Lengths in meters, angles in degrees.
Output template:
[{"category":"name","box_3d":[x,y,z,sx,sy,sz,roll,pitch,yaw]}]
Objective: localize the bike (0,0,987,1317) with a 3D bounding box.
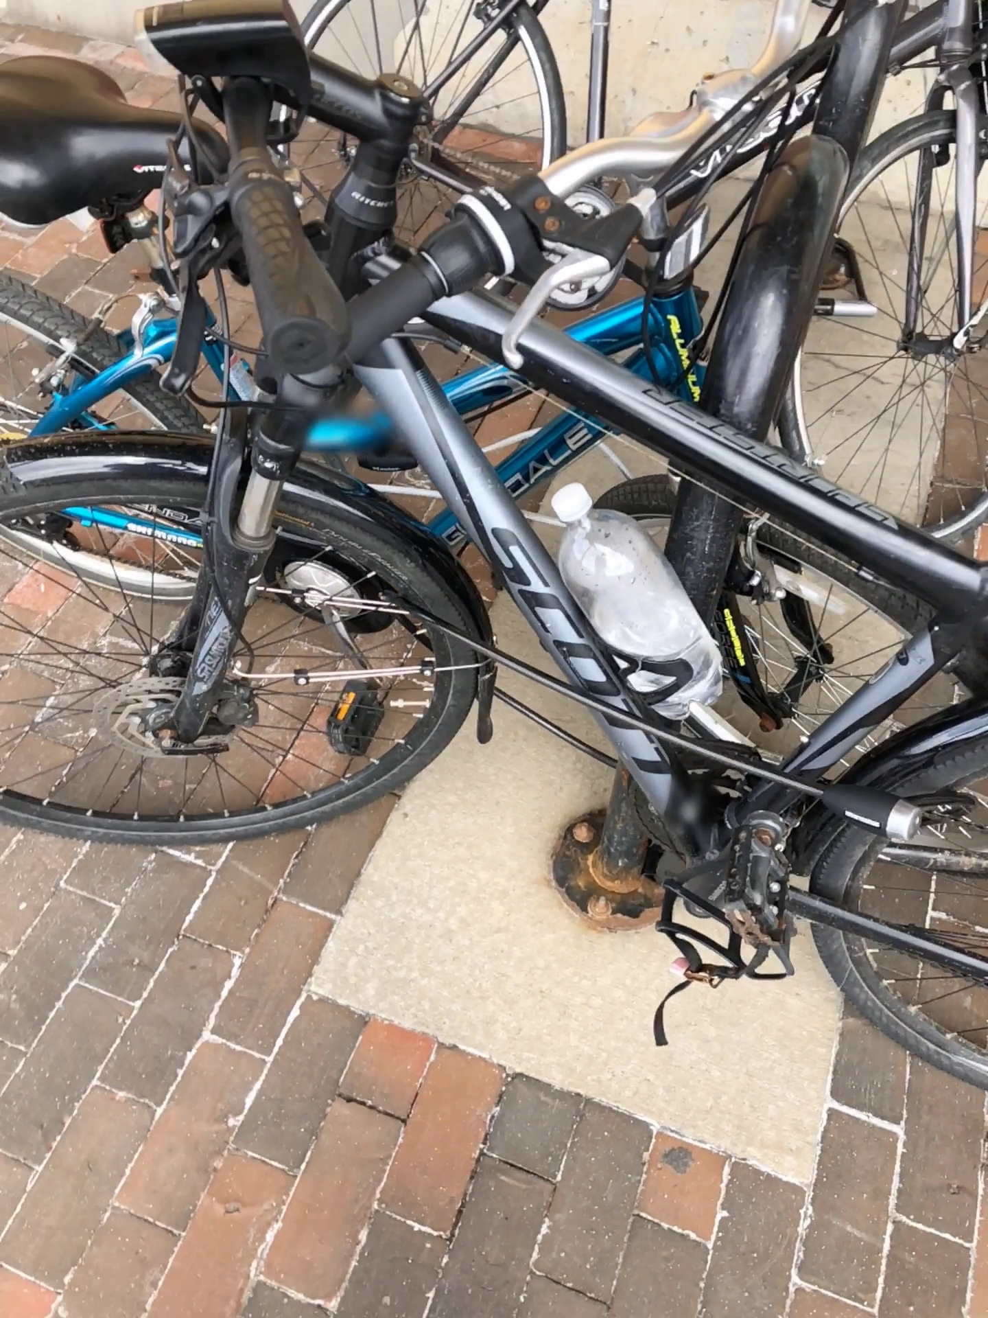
[{"category":"bike","box_3d":[0.091,0.031,0.930,1.507,0.941,0.676,10,52,9]}]
